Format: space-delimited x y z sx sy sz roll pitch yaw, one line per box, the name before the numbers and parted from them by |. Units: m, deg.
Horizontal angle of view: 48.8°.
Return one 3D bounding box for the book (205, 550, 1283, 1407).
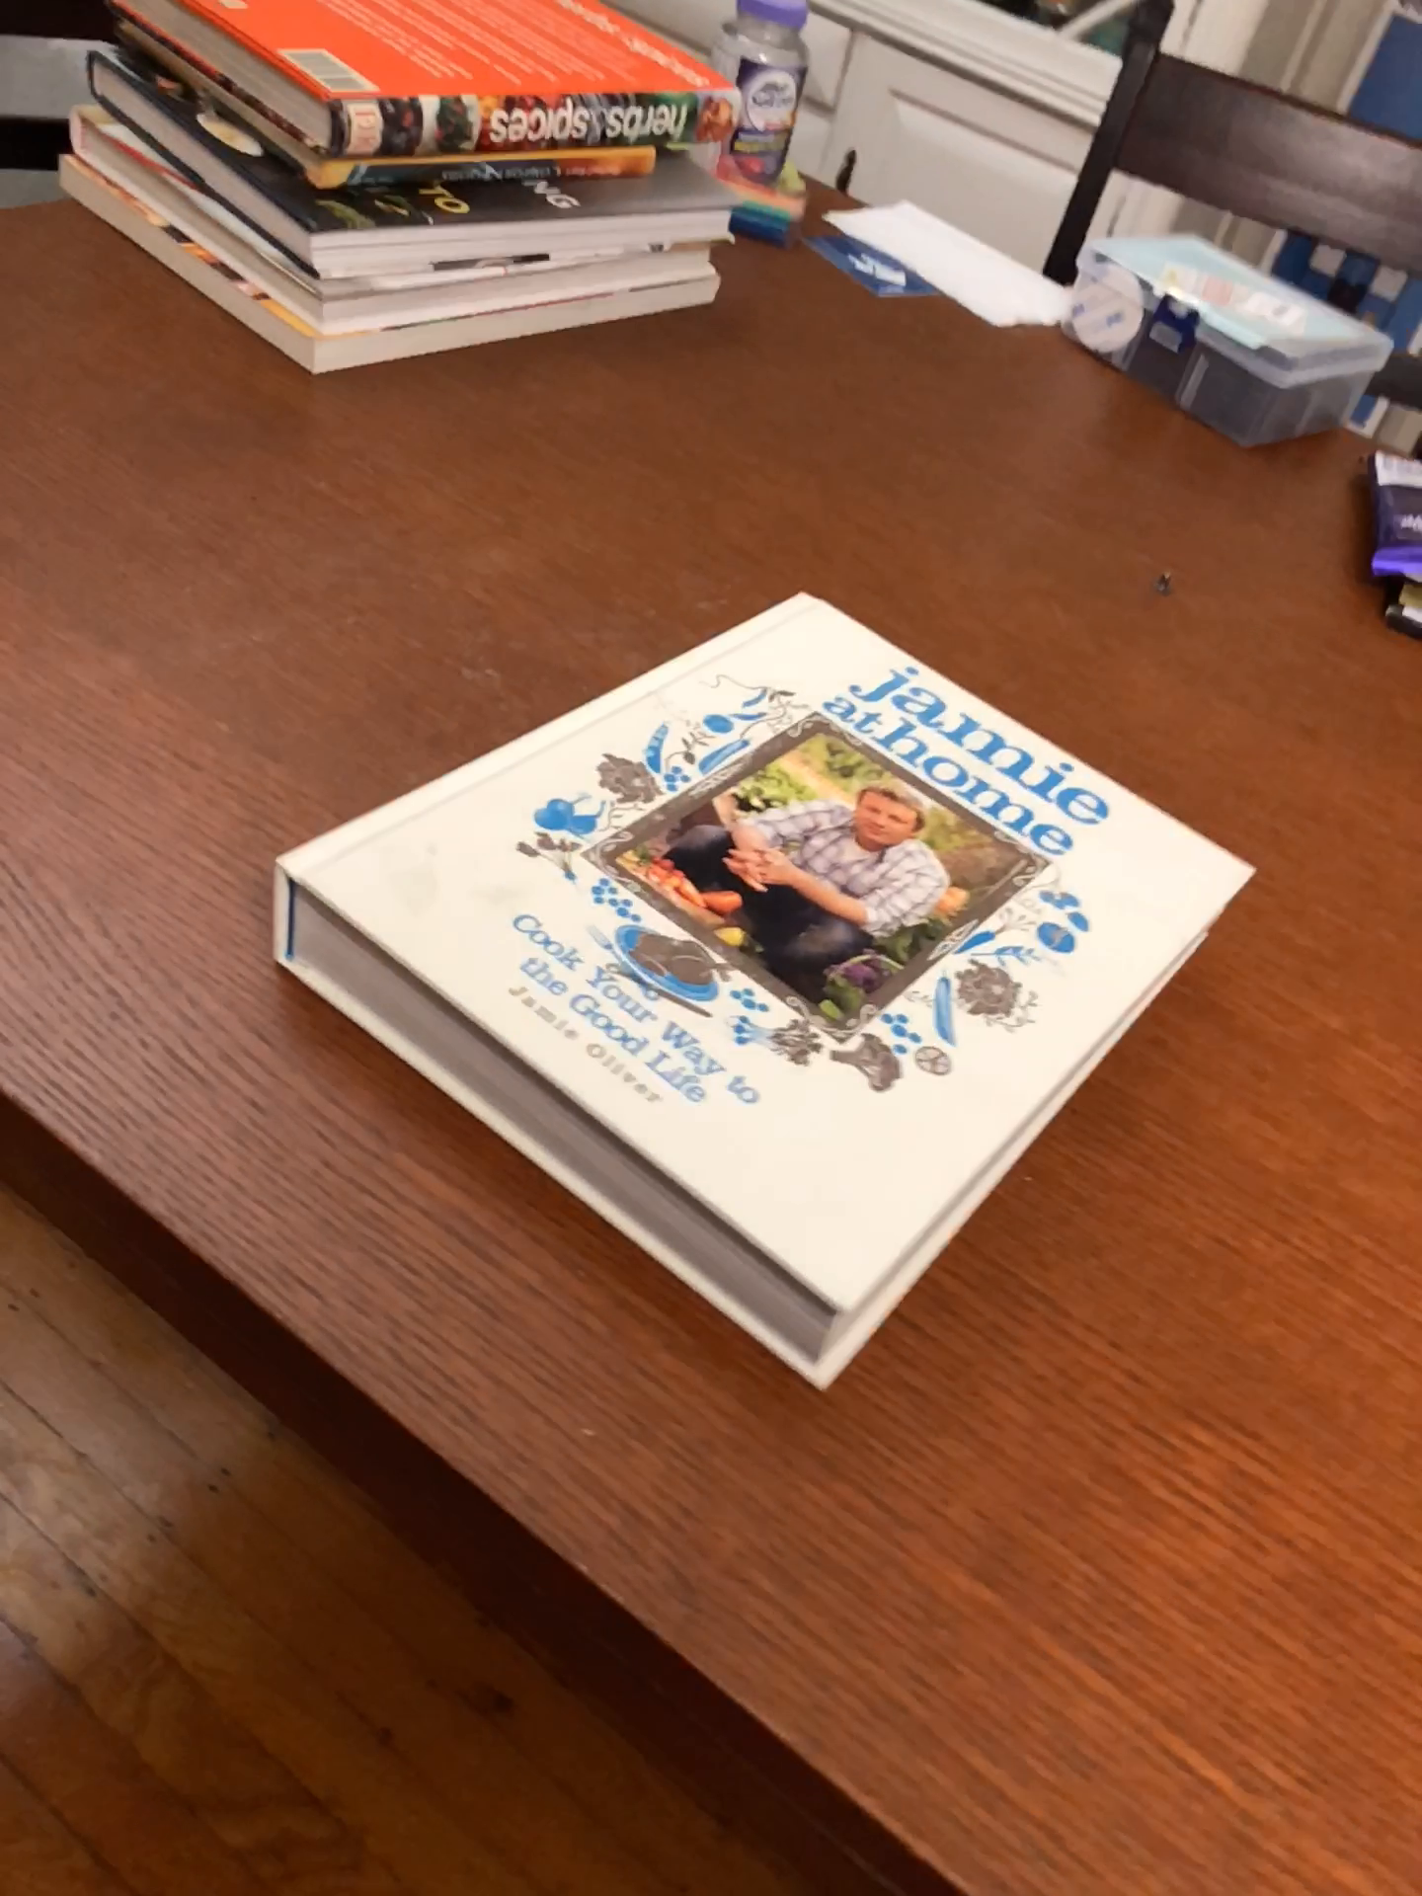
book | 0.023 -0.021 0.473 0.210 0.040 0.261 35 44 20
